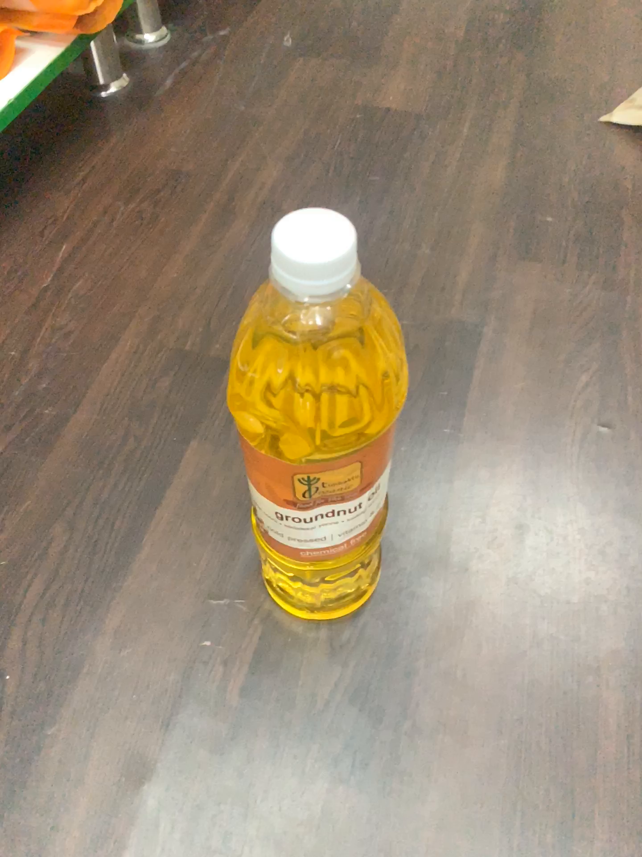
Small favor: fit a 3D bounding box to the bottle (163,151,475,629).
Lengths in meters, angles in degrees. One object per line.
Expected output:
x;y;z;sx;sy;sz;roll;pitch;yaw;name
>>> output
-0.002;0.011;0.314;0.090;0.260;0.070;-6;54;-3;bottle
